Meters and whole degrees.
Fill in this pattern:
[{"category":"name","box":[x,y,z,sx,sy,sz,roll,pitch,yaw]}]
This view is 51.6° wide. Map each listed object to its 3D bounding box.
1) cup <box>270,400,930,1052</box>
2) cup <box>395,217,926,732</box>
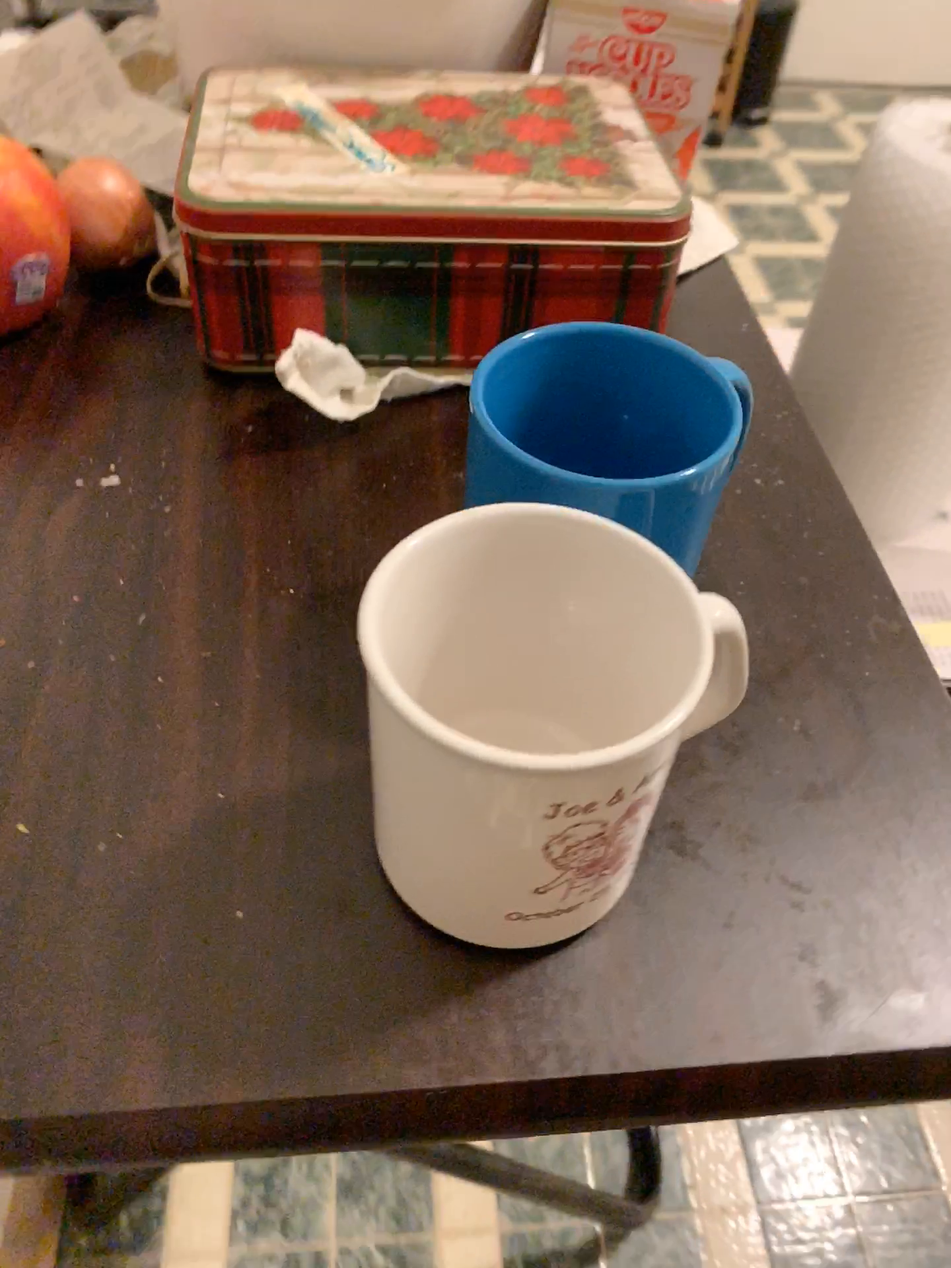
[{"category":"cup","box":[0.028,0.021,0.270,0.130,0.099,0.090,-27,56,-25]},{"category":"cup","box":[0.056,-0.059,0.337,0.140,0.099,0.090,-29,56,-26]}]
